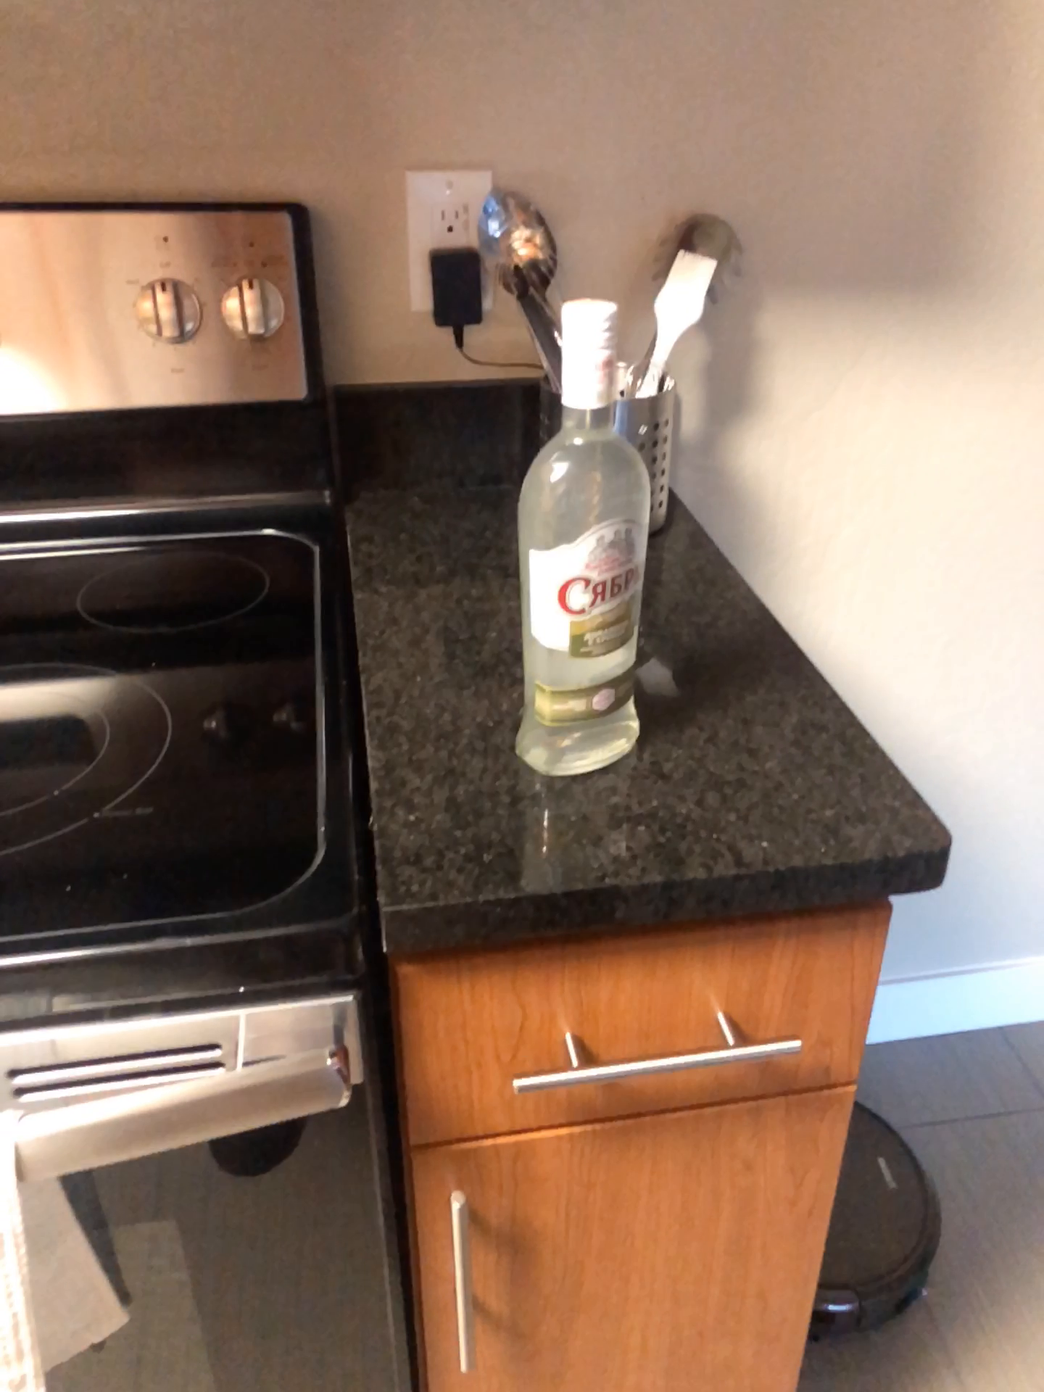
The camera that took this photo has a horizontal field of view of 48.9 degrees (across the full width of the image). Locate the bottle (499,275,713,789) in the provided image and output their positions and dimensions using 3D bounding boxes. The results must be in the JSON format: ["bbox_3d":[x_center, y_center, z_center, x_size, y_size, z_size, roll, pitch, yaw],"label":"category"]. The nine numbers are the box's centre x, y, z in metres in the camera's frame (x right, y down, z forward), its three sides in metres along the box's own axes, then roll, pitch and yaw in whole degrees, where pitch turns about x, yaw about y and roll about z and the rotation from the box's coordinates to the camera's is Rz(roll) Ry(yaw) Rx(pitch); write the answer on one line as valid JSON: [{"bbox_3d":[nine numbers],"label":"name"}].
[{"bbox_3d":[0.042,-0.087,0.645,0.090,0.269,0.060,-15,33,-26],"label":"bottle"}]
